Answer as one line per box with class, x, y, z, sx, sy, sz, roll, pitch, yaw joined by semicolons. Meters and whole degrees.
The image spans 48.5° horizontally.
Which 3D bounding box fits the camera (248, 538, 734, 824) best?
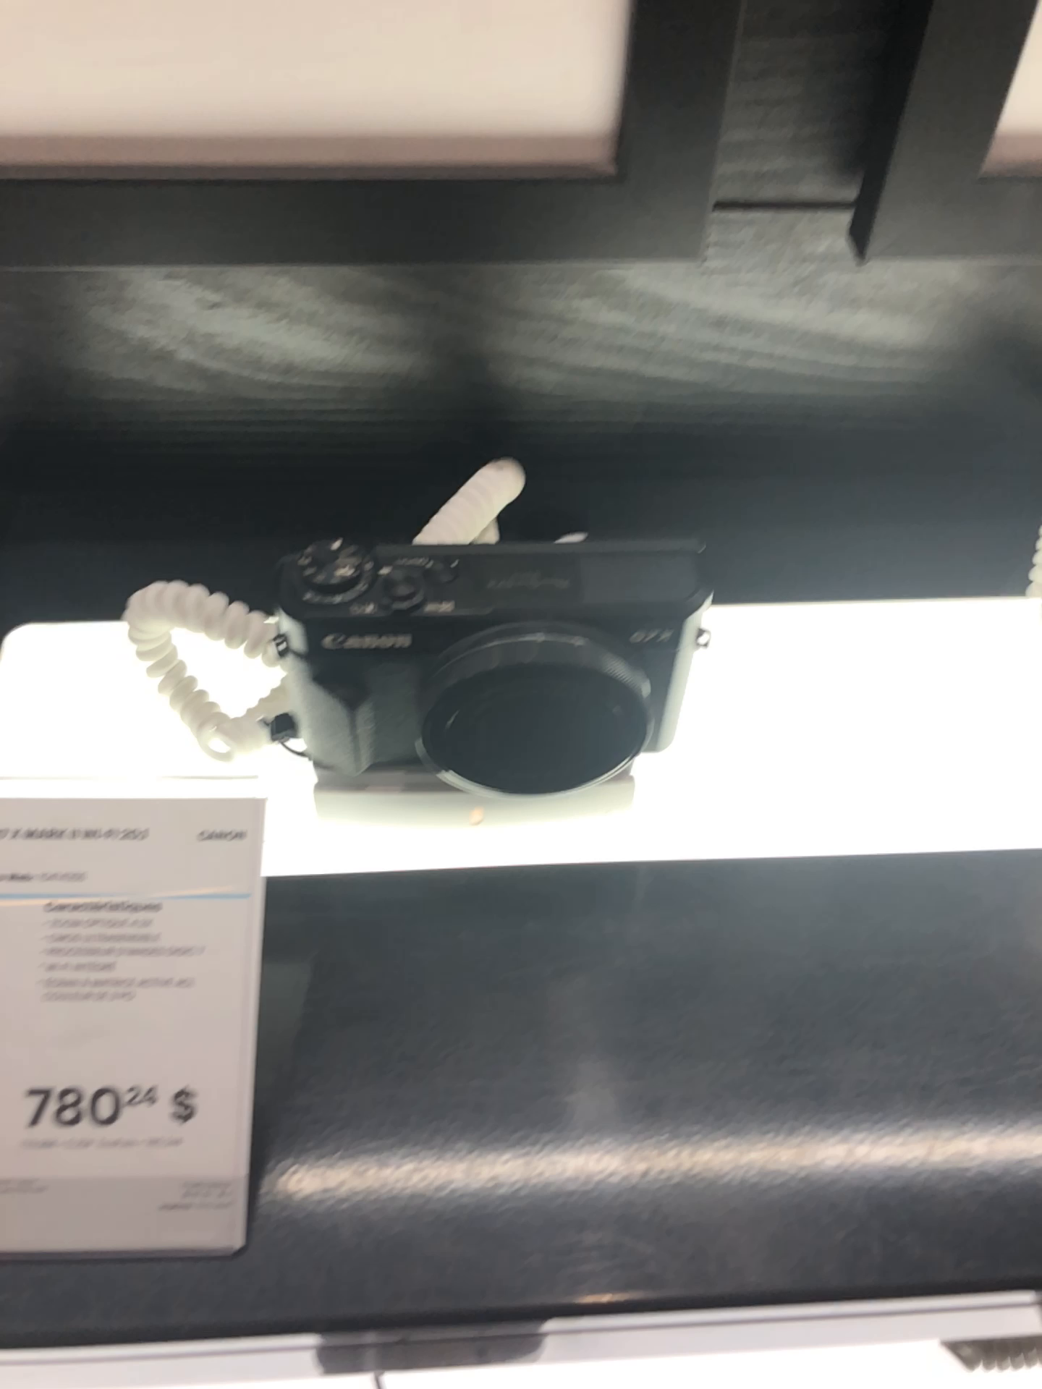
camera;-0.007;-0.002;0.272;0.100;0.056;0.038;-1;49;-3
